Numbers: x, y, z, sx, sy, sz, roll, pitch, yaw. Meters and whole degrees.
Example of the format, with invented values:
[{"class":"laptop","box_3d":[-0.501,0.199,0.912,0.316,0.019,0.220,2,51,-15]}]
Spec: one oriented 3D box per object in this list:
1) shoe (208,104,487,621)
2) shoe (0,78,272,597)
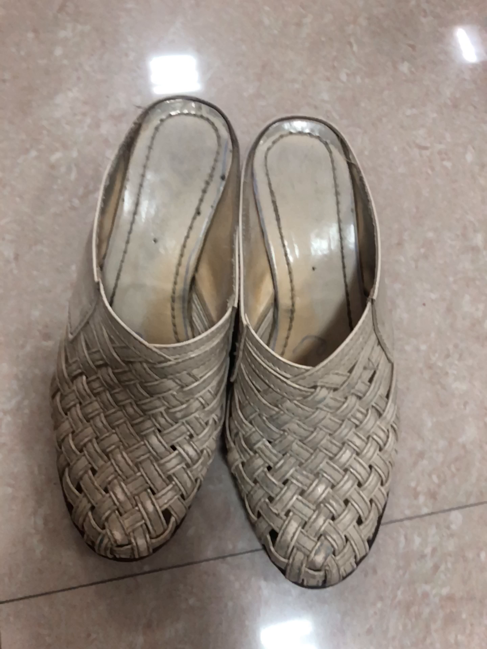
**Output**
[{"class":"shoe","box_3d":[0.039,0.011,0.272,0.100,0.085,0.221,-3,71,-4]},{"class":"shoe","box_3d":[-0.049,0.002,0.275,0.100,0.085,0.225,7,70,0]}]
